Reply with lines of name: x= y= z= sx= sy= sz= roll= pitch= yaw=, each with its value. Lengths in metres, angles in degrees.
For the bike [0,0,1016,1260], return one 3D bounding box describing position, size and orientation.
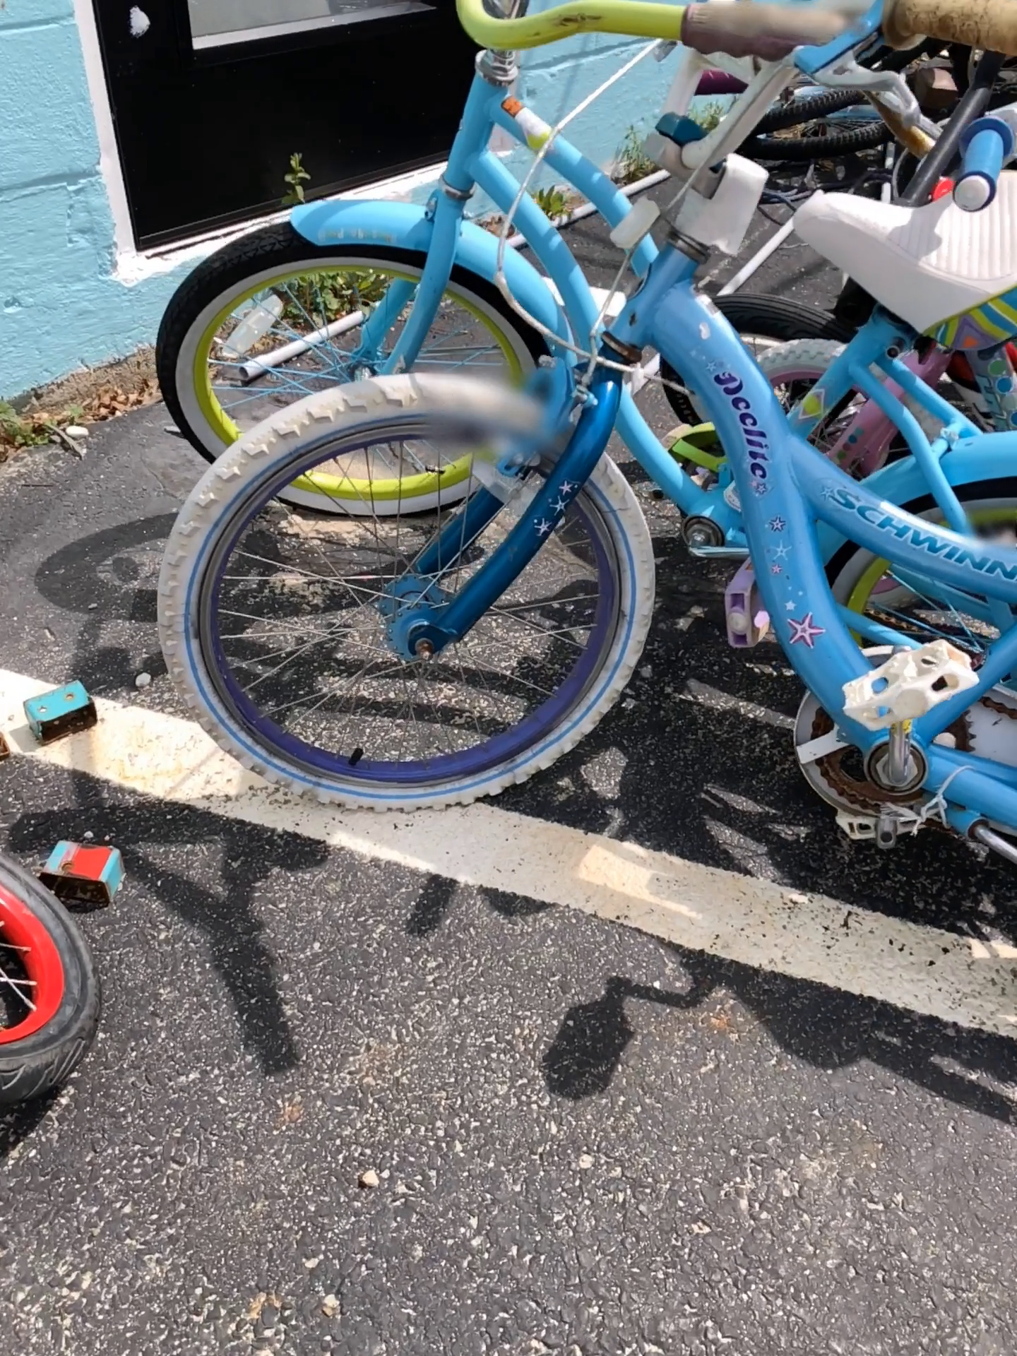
bike: x=0.395 y=-0.194 z=0.900 sx=1.265 sy=0.777 sz=0.559 roll=18 pitch=42 yaw=7
